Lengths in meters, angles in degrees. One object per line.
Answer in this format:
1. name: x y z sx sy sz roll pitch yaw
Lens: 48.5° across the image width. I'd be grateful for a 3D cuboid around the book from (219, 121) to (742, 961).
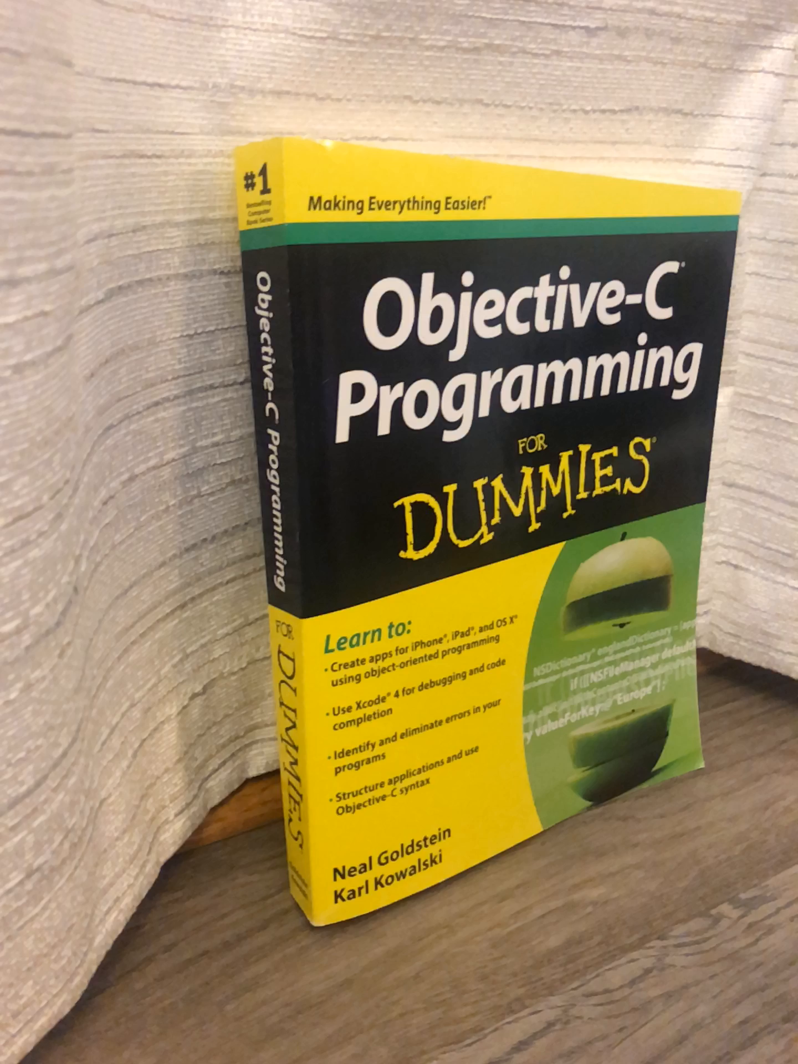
1. book: 0.040 -0.003 0.300 0.184 0.230 0.033 -10 15 -33
